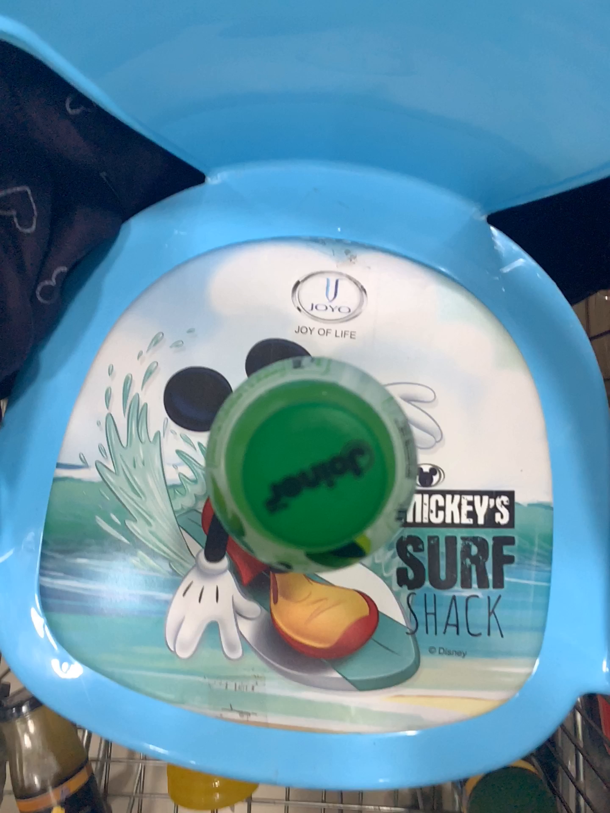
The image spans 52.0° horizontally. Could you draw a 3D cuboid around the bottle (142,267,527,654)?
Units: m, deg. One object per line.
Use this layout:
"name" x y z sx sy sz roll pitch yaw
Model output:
"bottle" 0.006 0.018 0.181 0.060 0.140 0.060 0 82 0
